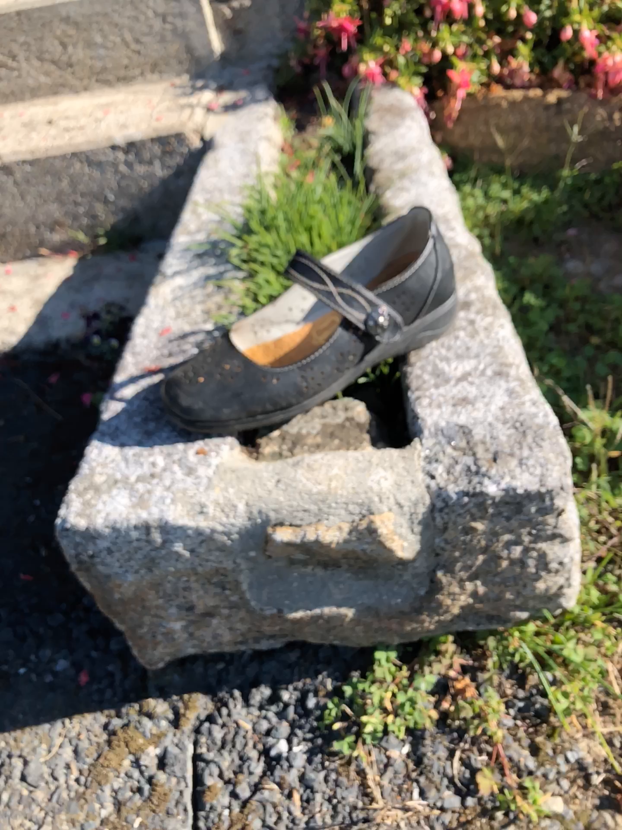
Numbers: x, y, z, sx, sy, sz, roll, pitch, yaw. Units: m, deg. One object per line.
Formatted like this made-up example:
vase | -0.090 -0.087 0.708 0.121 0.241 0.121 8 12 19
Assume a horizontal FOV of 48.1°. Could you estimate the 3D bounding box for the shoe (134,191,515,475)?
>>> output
shoe | 0.015 -0.069 0.517 0.251 0.099 0.100 -22 39 -15
